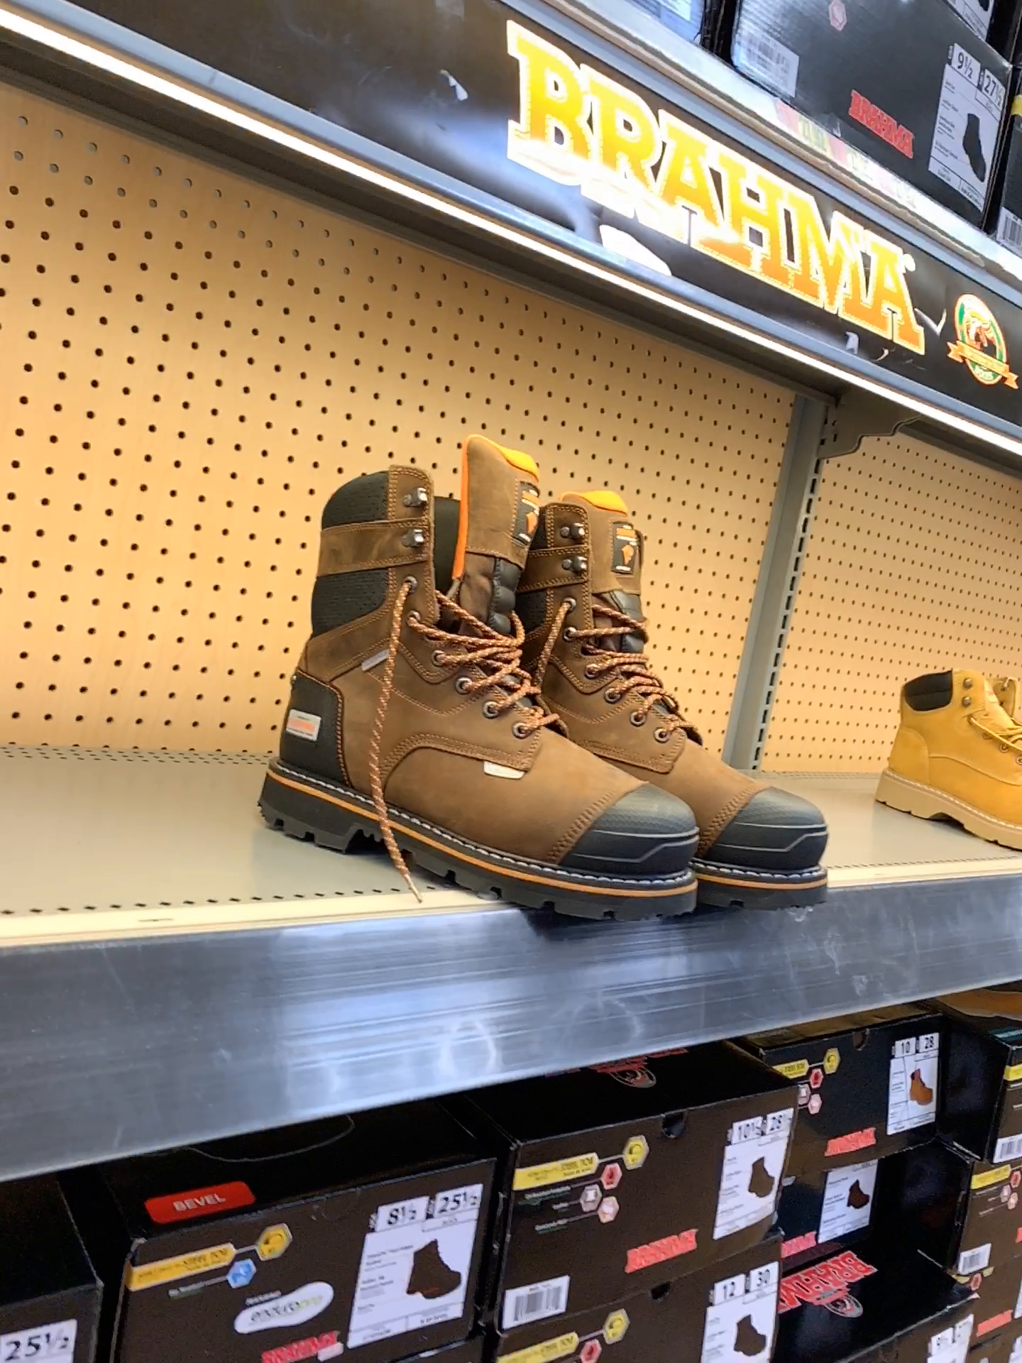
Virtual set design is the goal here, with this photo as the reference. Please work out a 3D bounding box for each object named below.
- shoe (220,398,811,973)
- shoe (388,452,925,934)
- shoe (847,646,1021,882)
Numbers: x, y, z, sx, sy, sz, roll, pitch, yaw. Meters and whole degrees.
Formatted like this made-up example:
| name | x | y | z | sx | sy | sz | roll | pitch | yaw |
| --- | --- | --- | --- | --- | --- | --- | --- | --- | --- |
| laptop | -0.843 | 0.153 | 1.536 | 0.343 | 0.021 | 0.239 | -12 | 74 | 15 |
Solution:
| name | x | y | z | sx | sy | sz | roll | pitch | yaw |
| --- | --- | --- | --- | --- | --- | --- | --- | --- | --- |
| shoe | -0.005 | -0.015 | 0.683 | 0.313 | 0.280 | 0.136 | 14 | 7 | 28 |
| shoe | 0.100 | -0.007 | 0.766 | 0.318 | 0.260 | 0.134 | 14 | 7 | 26 |
| shoe | 0.542 | 0.081 | 1.140 | 0.146 | 0.179 | 0.273 | 6 | 8 | -37 |
